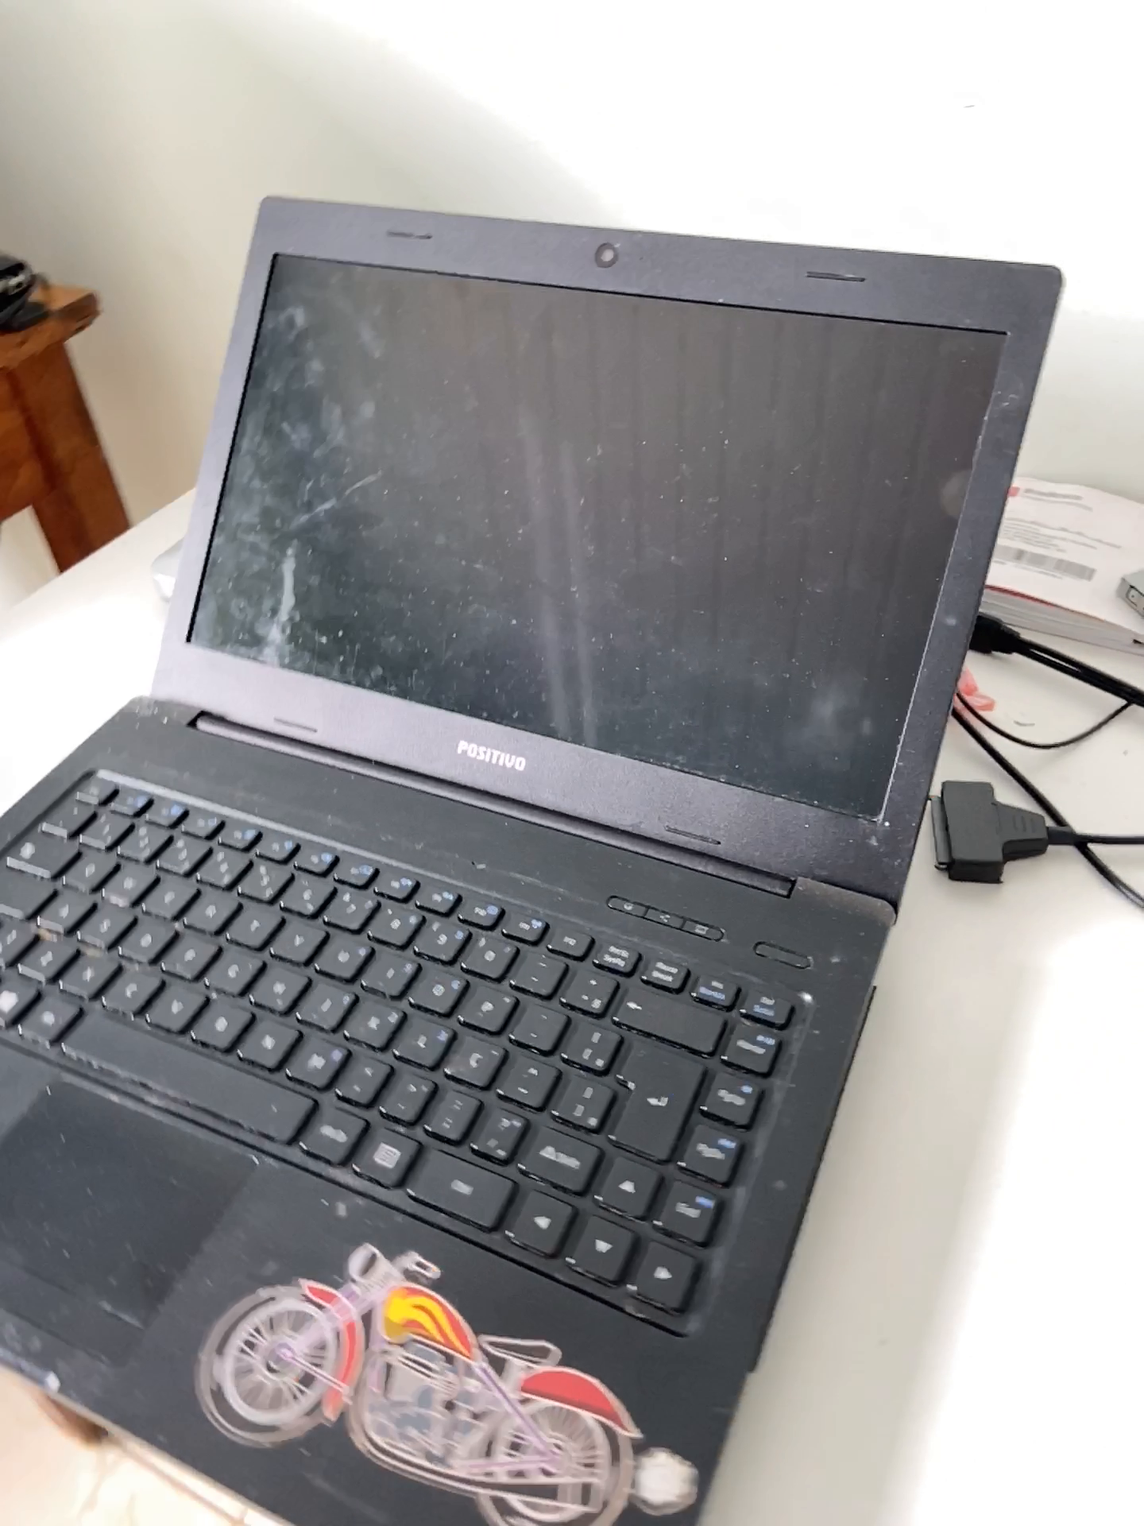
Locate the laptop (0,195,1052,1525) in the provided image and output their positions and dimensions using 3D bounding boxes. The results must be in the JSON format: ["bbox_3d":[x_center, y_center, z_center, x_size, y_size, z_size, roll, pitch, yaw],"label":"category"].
[{"bbox_3d":[-0.064,-0.026,0.384,0.334,0.162,0.395,15,45,21],"label":"laptop"}]
